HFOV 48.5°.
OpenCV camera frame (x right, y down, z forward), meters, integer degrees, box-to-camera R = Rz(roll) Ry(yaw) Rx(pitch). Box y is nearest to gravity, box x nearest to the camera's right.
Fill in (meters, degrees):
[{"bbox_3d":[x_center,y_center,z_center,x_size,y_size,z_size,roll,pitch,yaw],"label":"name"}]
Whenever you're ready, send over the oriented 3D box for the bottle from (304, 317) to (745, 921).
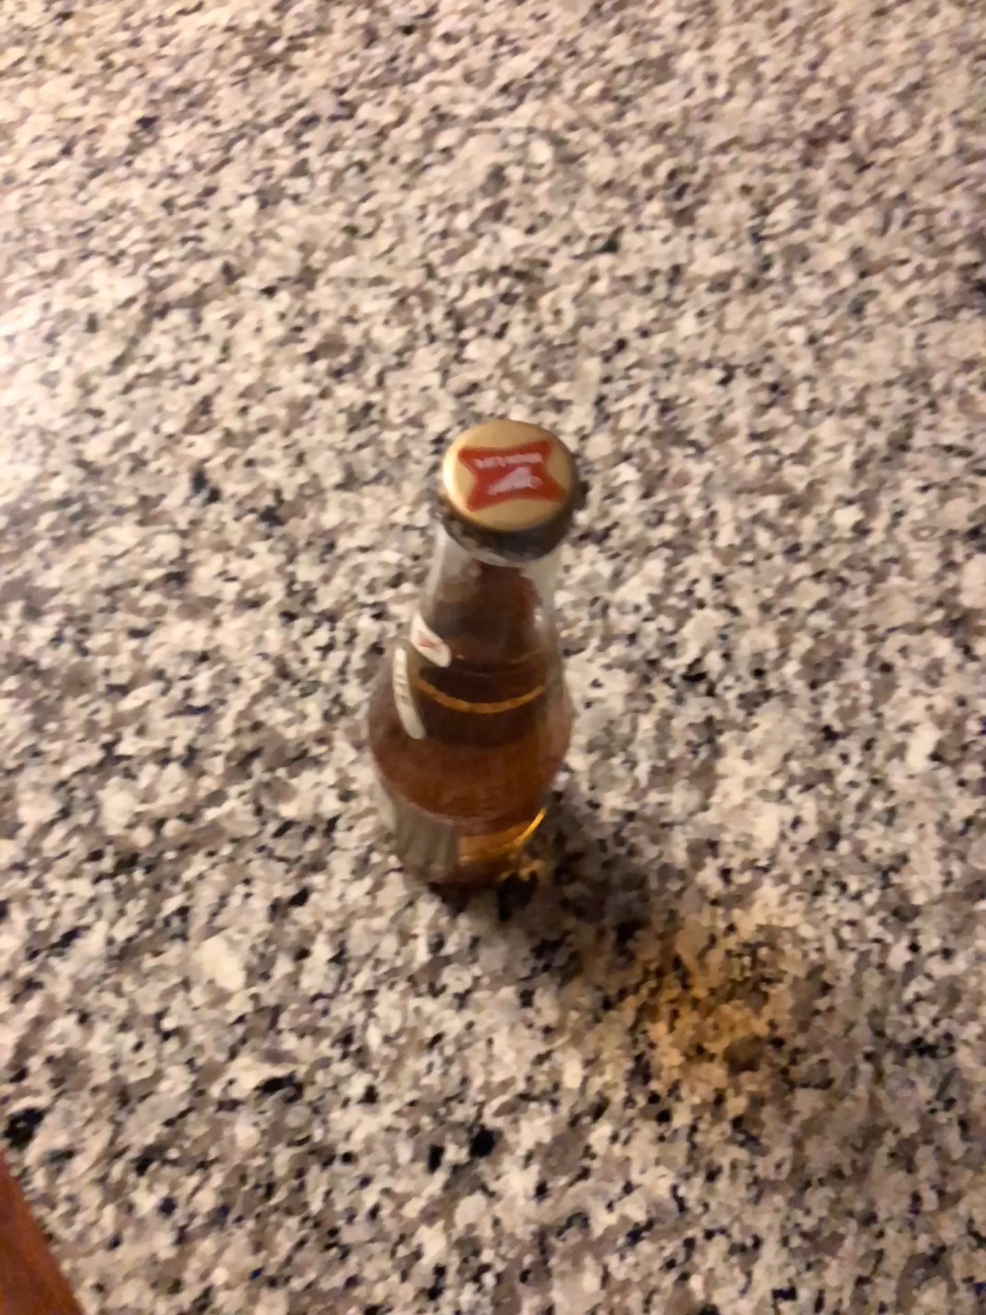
[{"bbox_3d":[0.001,0.015,0.303,0.070,0.230,0.060,12,66,2],"label":"bottle"}]
